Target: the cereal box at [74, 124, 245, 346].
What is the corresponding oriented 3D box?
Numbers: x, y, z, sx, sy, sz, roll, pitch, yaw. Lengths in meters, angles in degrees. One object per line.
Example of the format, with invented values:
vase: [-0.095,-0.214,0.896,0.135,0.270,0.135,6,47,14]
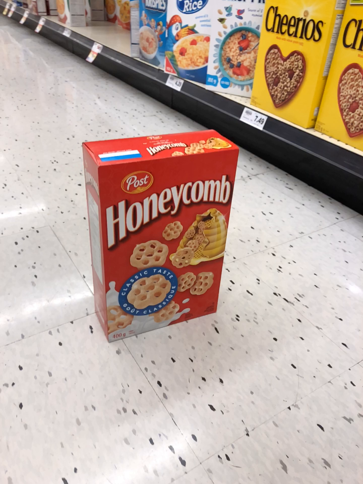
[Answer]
cereal box: [-0.036,-0.006,0.587,0.200,0.298,0.080,-11,37,-22]
